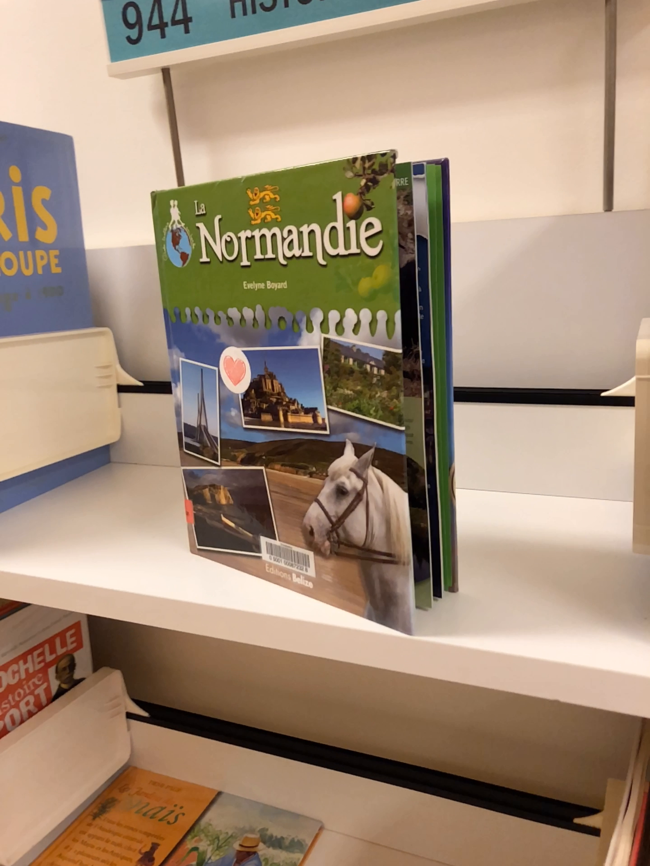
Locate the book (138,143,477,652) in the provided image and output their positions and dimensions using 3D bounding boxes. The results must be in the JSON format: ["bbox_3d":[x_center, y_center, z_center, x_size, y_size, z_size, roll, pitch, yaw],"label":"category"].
[{"bbox_3d":[-0.016,-0.029,0.444,0.077,0.249,0.207,-15,17,-41],"label":"book"}]
